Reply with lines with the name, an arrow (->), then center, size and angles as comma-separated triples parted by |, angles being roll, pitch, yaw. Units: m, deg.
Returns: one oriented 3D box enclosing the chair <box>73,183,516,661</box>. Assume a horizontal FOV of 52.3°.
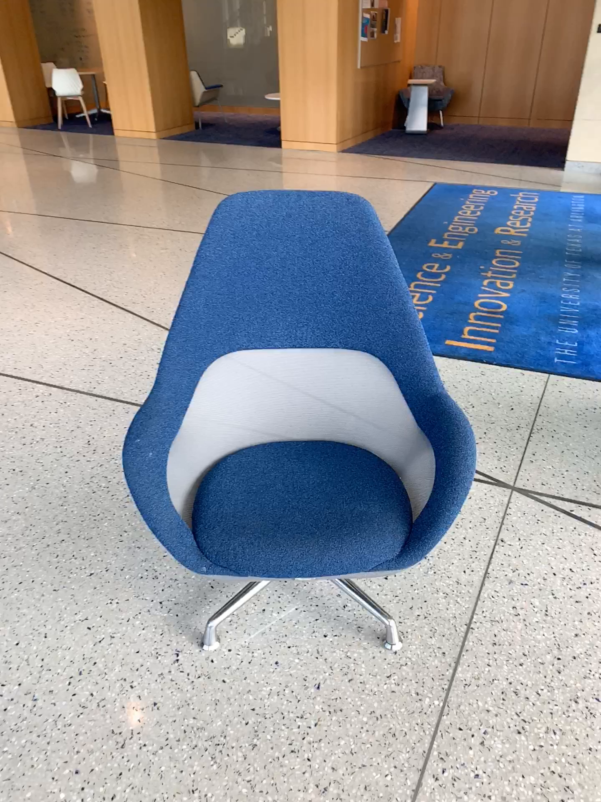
chair -> 0.000, 0.018, 1.578 | 0.724, 0.933, 0.791 | -1, 31, 1
